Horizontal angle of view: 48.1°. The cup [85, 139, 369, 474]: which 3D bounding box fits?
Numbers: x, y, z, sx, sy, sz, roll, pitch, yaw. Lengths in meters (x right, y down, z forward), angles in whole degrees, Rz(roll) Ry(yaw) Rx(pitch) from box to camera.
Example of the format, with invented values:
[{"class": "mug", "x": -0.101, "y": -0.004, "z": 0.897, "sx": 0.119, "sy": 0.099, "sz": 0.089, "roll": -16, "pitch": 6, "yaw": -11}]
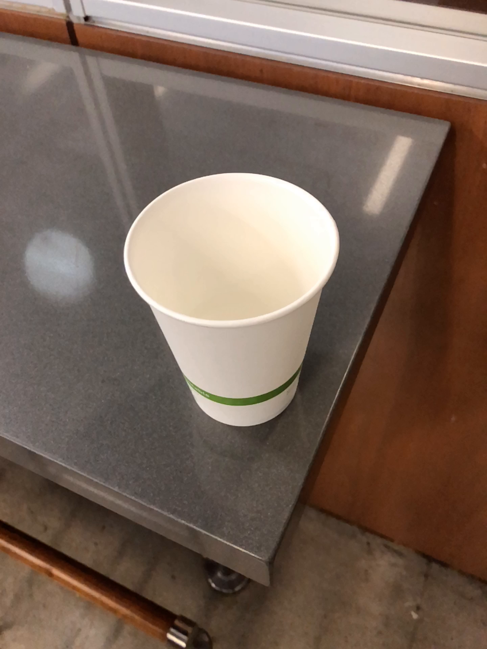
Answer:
[{"class": "cup", "x": -0.008, "y": -0.004, "z": 0.260, "sx": 0.090, "sy": 0.119, "sz": 0.080, "roll": -18, "pitch": 53, "yaw": -11}]
